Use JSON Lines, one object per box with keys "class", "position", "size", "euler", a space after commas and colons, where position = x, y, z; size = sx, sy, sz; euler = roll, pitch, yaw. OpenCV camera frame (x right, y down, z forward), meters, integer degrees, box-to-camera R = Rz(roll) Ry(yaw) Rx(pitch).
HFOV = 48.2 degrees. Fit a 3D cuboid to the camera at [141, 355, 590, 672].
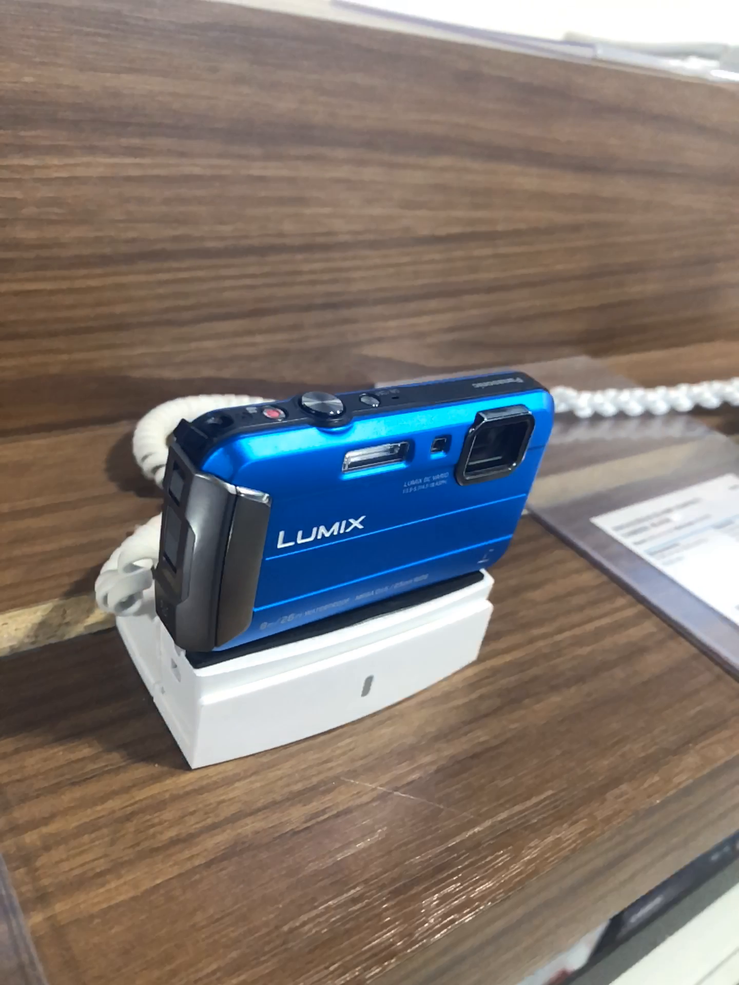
{"class": "camera", "position": [0.001, 0.001, 0.192], "size": [0.101, 0.051, 0.023], "euler": [-13, 42, -35]}
